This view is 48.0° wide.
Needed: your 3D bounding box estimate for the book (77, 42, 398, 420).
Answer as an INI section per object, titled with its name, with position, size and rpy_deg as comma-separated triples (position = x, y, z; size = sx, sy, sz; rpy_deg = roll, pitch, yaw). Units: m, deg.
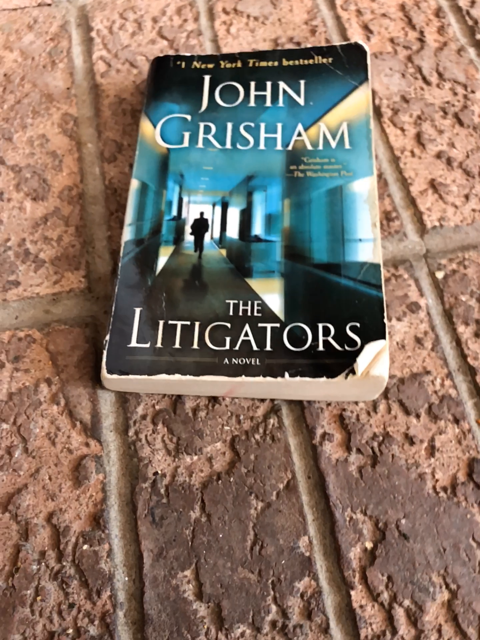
[book]
position = 0.005, -0.054, 0.278
size = 0.135, 0.033, 0.200
rpy_deg = 2, 68, 6
